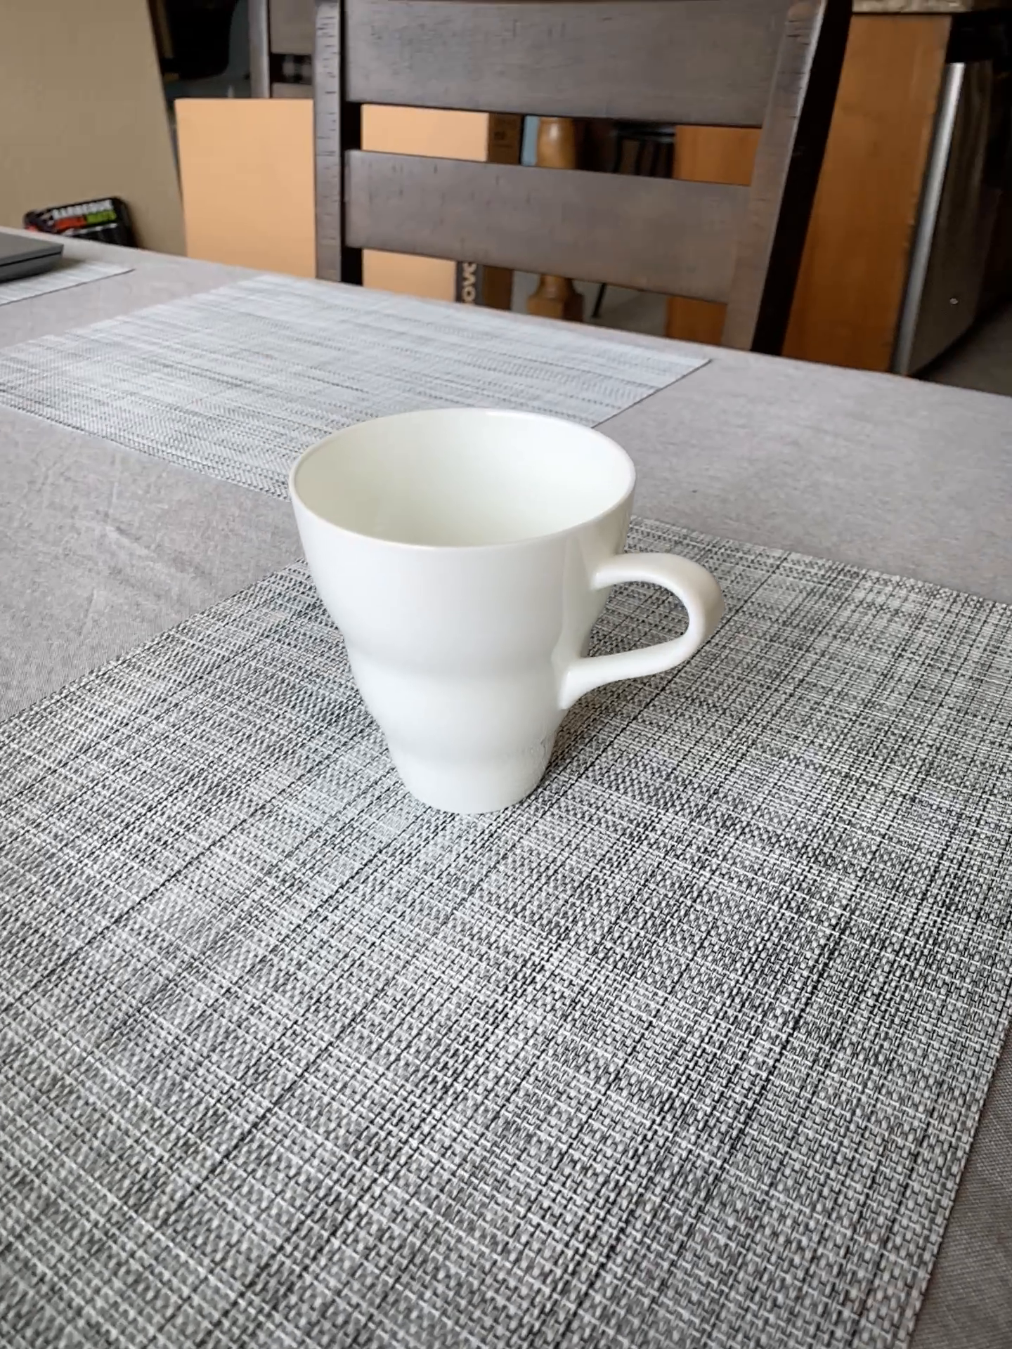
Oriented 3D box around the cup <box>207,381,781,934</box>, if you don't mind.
[{"bbox_3d":[0.000,-0.014,0.310,0.121,0.098,0.099,20,41,28],"label":"cup"}]
